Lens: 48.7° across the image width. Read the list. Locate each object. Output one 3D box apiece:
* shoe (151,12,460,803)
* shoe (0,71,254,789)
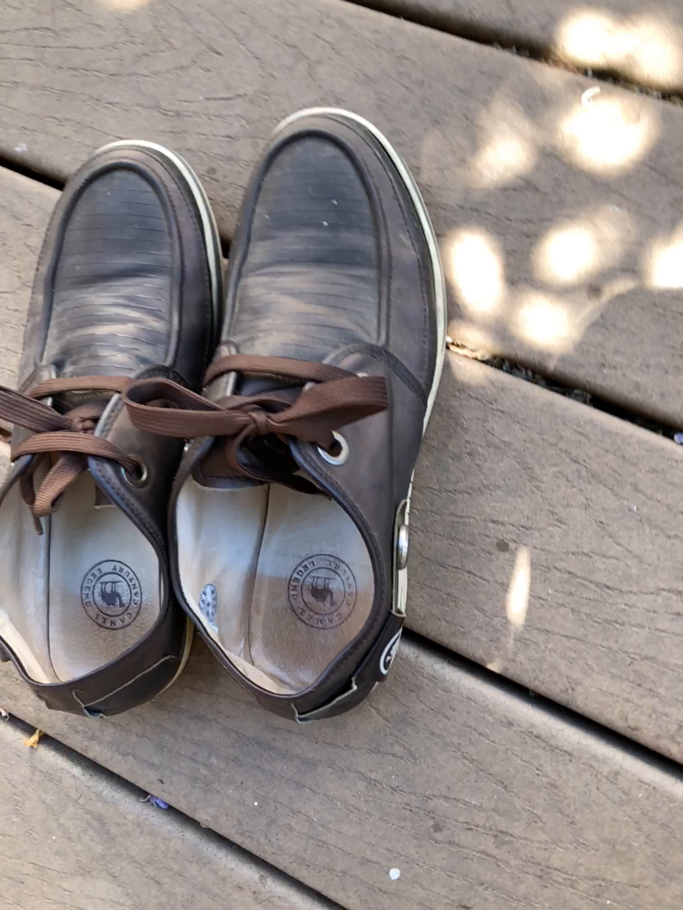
[{"bbox_3d":[-0.008,-0.019,0.337,0.107,0.105,0.289,2,90,11],"label":"shoe"},{"bbox_3d":[-0.118,-0.012,0.369,0.107,0.115,0.287,2,90,11],"label":"shoe"}]
